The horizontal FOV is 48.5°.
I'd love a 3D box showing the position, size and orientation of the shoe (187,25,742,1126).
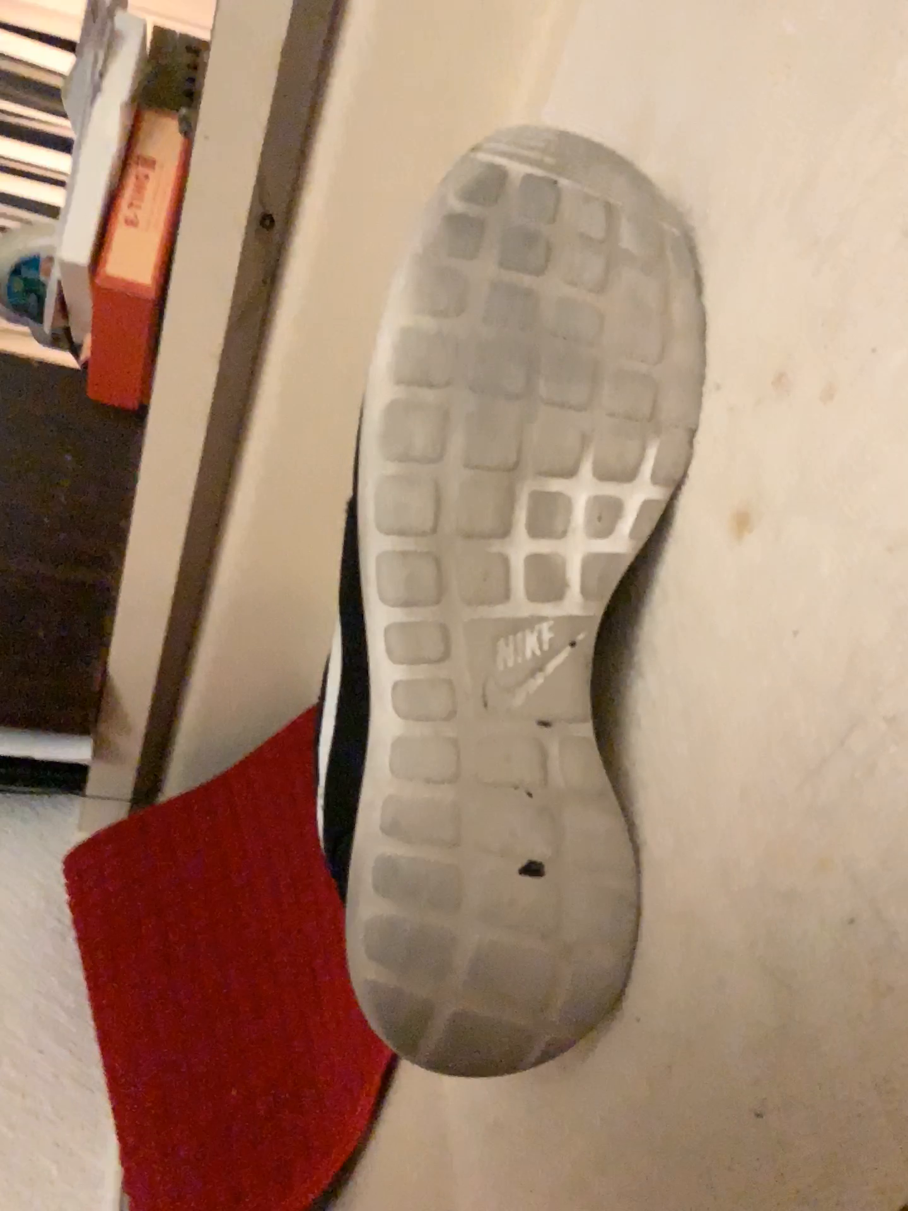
[{"bbox_3d":[-0.013,-0.002,0.344,0.180,0.100,0.270,174,105,-71],"label":"shoe"}]
